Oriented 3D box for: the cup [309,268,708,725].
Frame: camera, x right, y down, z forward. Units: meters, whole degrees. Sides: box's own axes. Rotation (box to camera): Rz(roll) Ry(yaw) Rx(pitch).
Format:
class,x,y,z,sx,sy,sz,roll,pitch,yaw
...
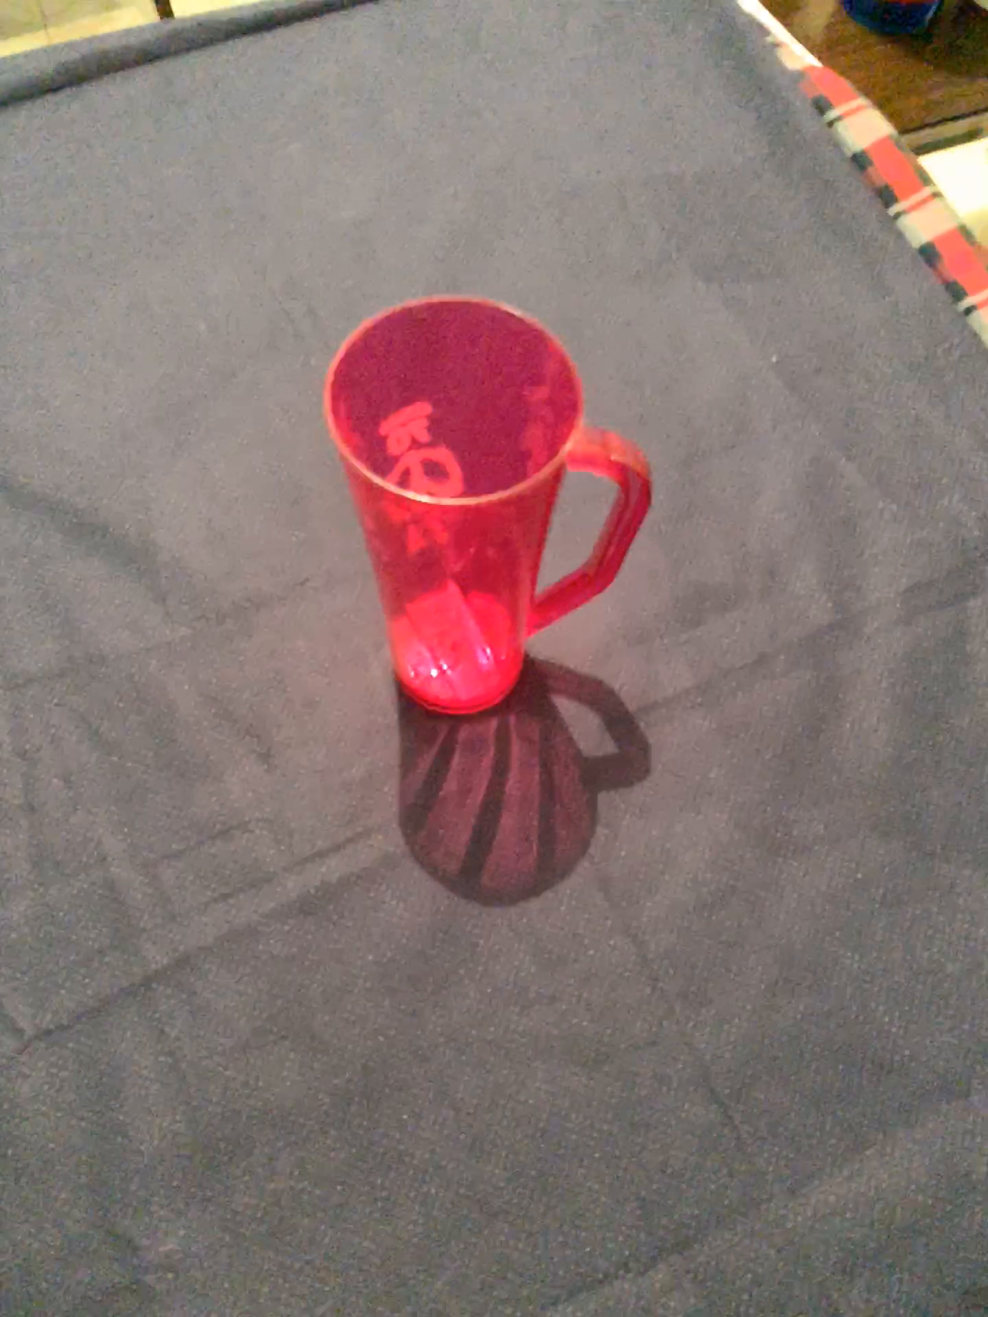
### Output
class,x,y,z,sx,sy,sz,roll,pitch,yaw
cup,0.002,-0.041,0.344,0.100,0.170,0.070,1,66,-1
